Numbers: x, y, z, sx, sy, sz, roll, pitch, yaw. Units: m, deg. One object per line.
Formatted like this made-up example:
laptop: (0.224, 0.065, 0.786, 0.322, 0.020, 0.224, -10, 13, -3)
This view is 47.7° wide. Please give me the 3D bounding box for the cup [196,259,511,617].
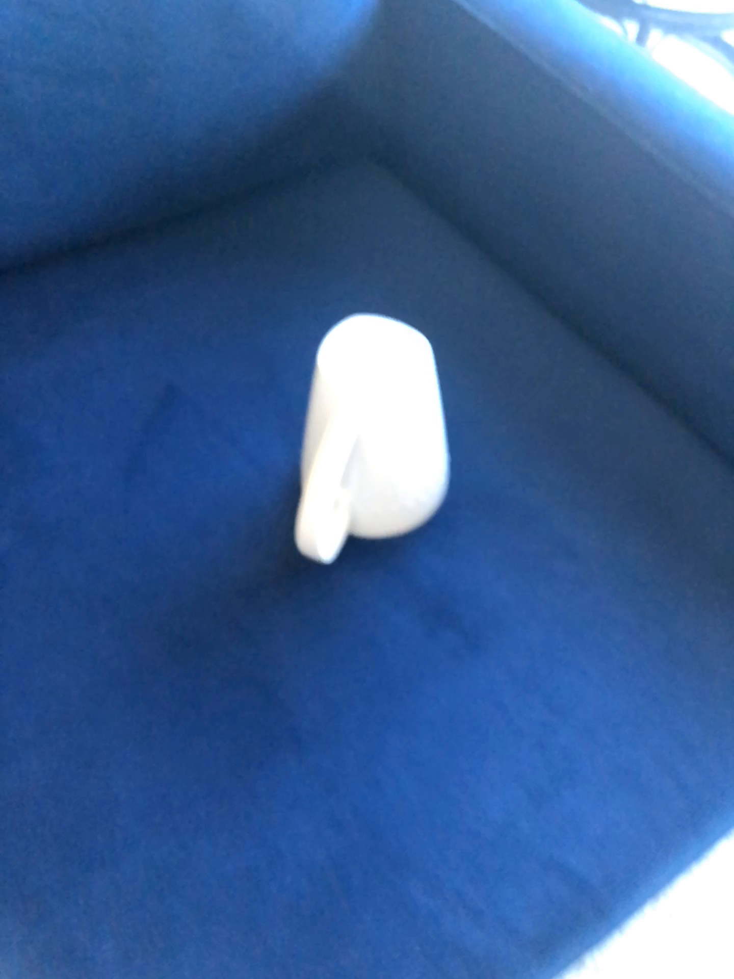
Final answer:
cup: (-0.004, -0.032, 0.463, 0.110, 0.090, 0.150, 21, 57, 10)
